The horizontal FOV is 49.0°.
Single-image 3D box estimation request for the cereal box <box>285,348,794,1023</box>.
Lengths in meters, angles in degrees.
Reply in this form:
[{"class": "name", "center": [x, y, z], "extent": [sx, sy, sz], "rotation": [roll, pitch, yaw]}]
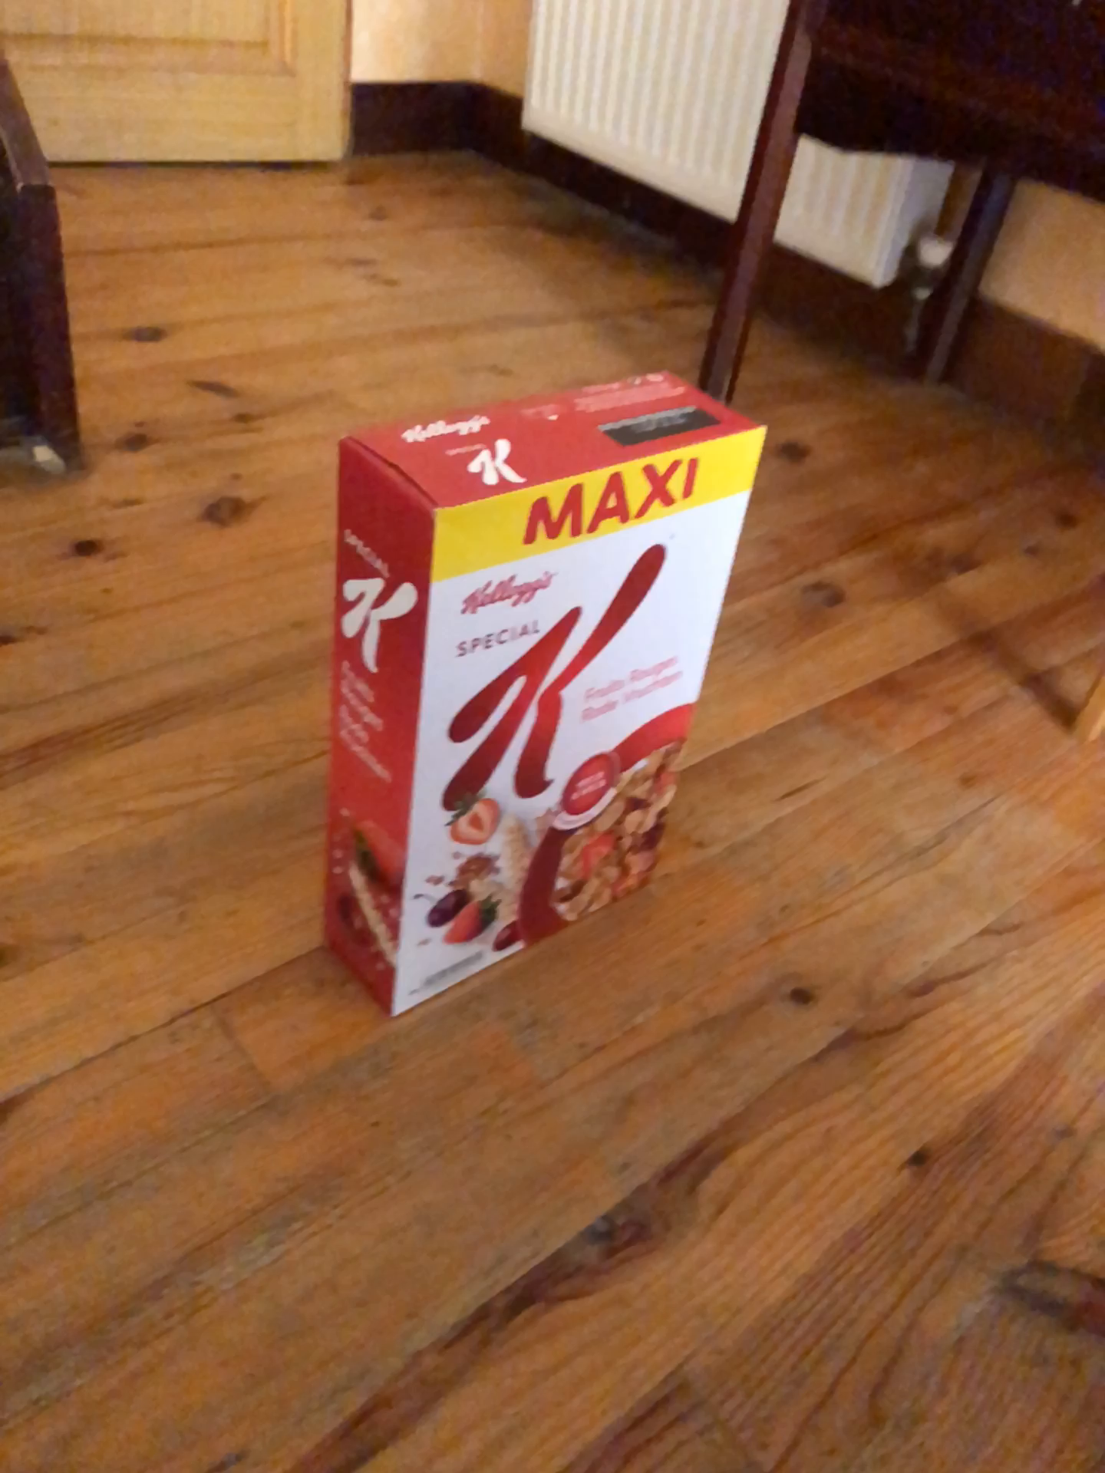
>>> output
[{"class": "cereal box", "center": [-0.017, -0.026, 0.612], "extent": [0.211, 0.288, 0.090], "rotation": [-22, 47, -35]}]
